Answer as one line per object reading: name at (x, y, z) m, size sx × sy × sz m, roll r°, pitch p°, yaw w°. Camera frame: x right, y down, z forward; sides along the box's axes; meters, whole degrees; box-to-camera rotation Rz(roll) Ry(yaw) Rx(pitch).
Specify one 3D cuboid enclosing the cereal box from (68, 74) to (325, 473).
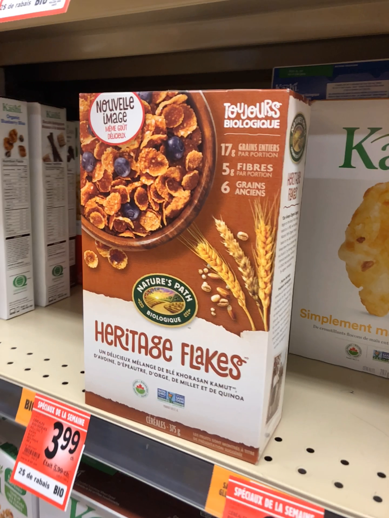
cereal box at (-0.004, 0.004, 0.336) m, size 0.170 × 0.259 × 0.070 m, roll 9°, pitch 15°, yaw 26°
